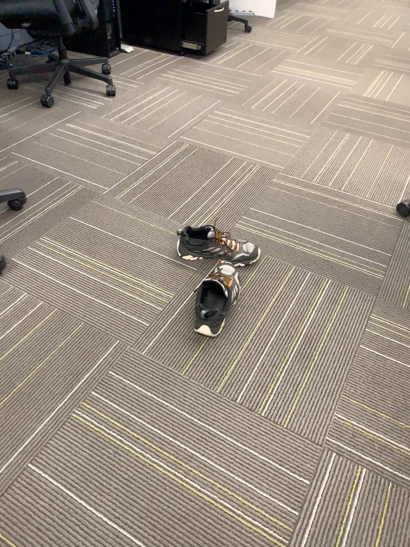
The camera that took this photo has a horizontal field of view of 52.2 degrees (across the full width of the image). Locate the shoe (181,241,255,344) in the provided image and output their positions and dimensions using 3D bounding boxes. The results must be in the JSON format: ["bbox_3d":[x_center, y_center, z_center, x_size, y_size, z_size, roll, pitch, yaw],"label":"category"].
[{"bbox_3d":[0.046,0.048,1.293,0.140,0.099,0.311,14,46,11],"label":"shoe"}]

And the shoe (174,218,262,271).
[{"bbox_3d":[0.050,-0.110,1.577,0.310,0.099,0.141,7,45,4],"label":"shoe"}]
